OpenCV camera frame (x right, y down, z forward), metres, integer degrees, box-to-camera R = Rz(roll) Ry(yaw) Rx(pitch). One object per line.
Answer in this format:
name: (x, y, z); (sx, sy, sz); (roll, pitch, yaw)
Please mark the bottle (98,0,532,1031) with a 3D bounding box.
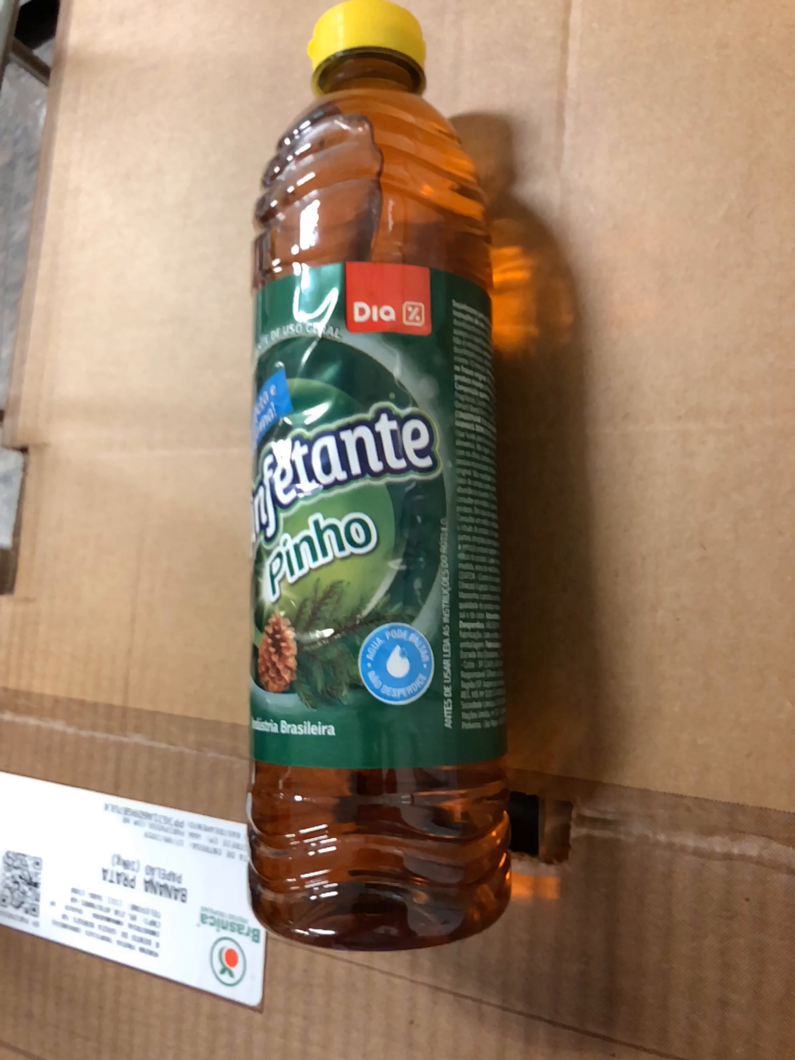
bottle: (-0.015, -0.019, 0.210); (0.060, 0.070, 0.220); (-9, 76, 42)
